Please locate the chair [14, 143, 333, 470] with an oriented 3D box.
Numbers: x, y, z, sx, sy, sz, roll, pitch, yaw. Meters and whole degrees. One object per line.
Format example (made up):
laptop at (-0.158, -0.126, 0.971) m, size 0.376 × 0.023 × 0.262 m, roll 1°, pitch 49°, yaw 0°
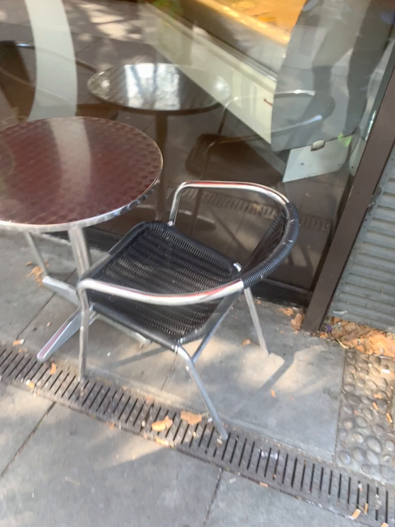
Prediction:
chair at (-0.039, 0.094, 1.296) m, size 0.641 × 0.604 × 0.605 m, roll 21°, pitch 45°, yaw 19°
